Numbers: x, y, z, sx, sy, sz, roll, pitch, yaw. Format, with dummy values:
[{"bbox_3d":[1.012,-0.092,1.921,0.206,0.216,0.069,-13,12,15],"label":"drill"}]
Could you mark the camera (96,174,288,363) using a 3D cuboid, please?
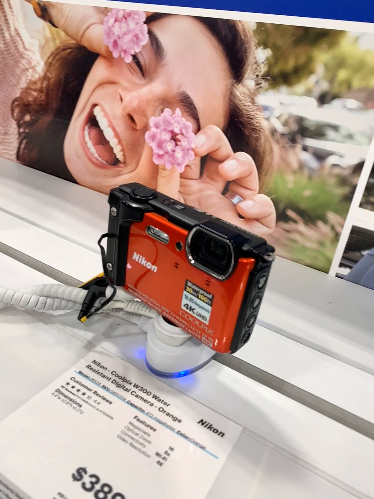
[{"bbox_3d":[-0.005,0.006,0.216,0.105,0.063,0.025,27,31,29],"label":"camera"}]
